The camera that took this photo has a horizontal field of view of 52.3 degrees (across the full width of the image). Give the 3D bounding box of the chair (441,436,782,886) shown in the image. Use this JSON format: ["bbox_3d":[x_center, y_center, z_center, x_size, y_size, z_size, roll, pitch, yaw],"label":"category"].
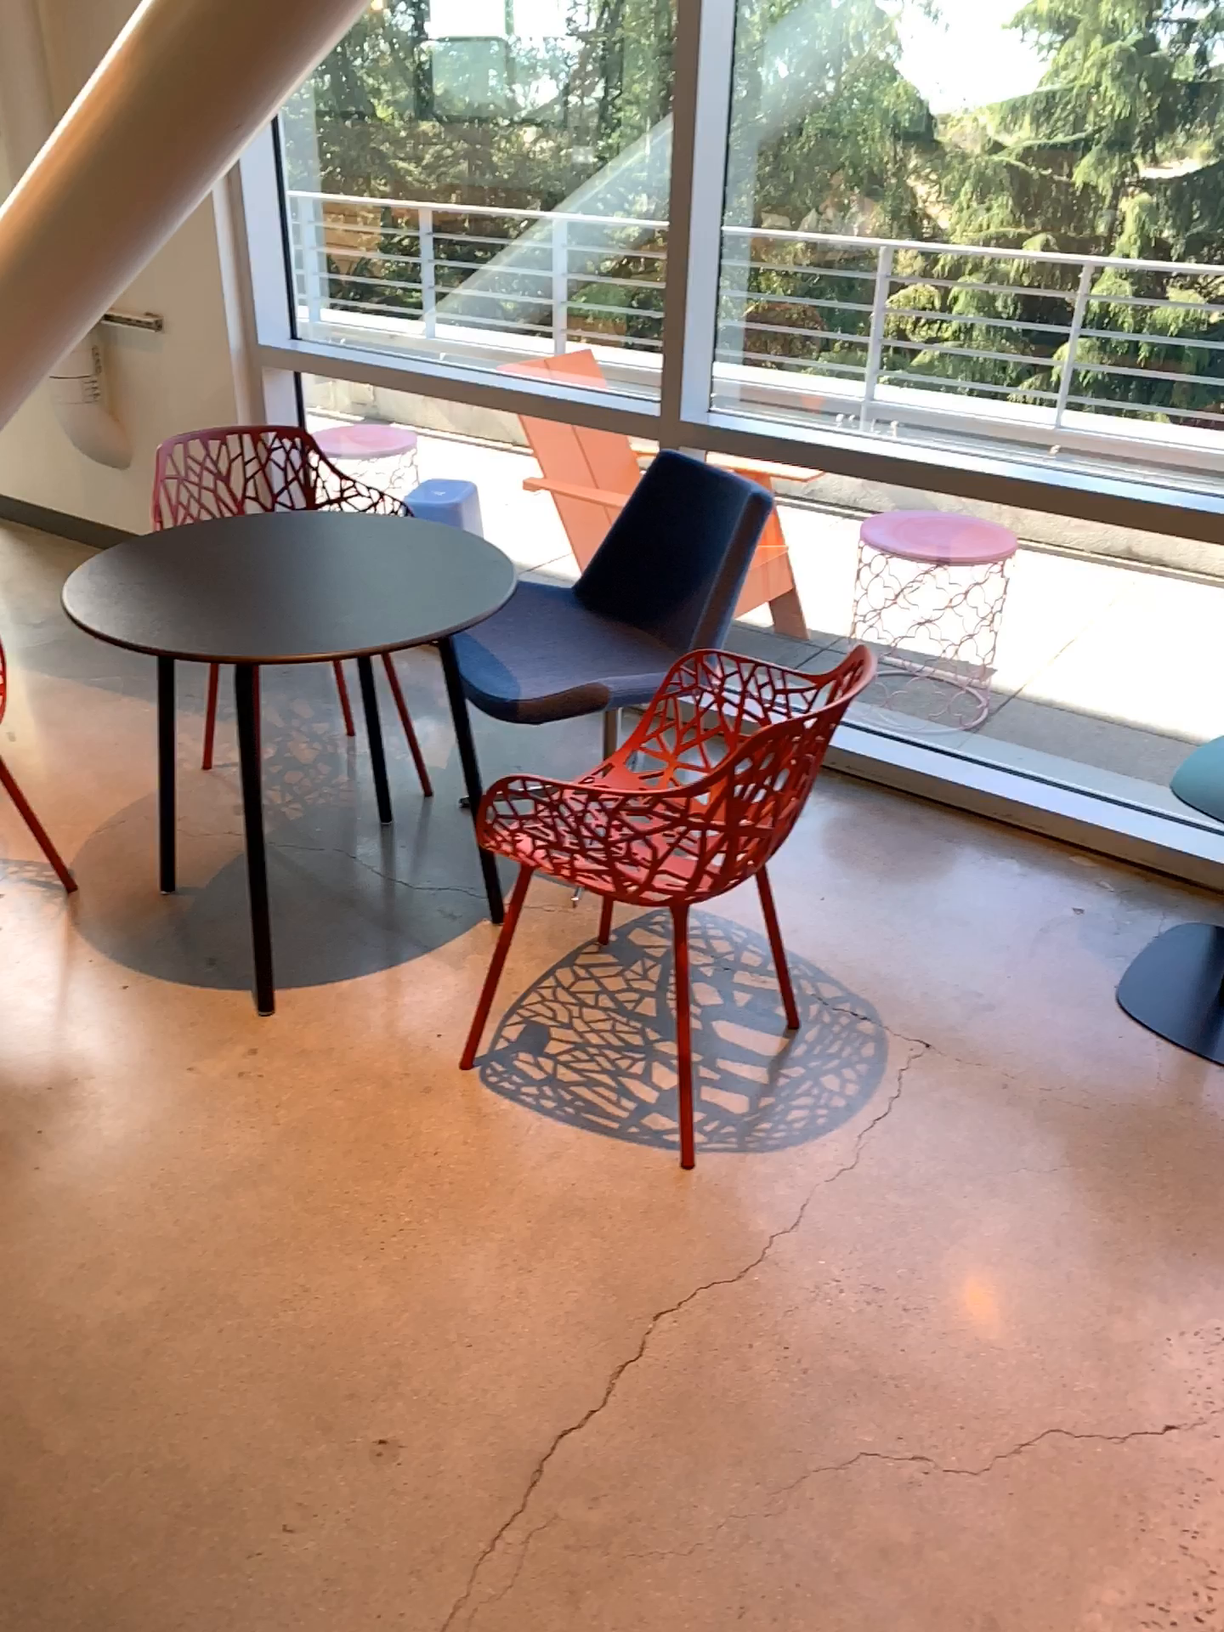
[{"bbox_3d":[-0.029,-0.364,2.727,0.510,0.765,0.563,-11,31,-22],"label":"chair"}]

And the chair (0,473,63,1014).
[{"bbox_3d":[-1.482,-0.156,2.285,0.530,0.765,0.563,7,29,10],"label":"chair"}]

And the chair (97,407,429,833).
[{"bbox_3d":[-0.788,-0.472,2.850,0.560,0.765,0.533,-12,31,-23],"label":"chair"}]

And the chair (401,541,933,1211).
[{"bbox_3d":[0.082,0.054,1.984,0.562,0.765,0.552,20,34,30],"label":"chair"}]
